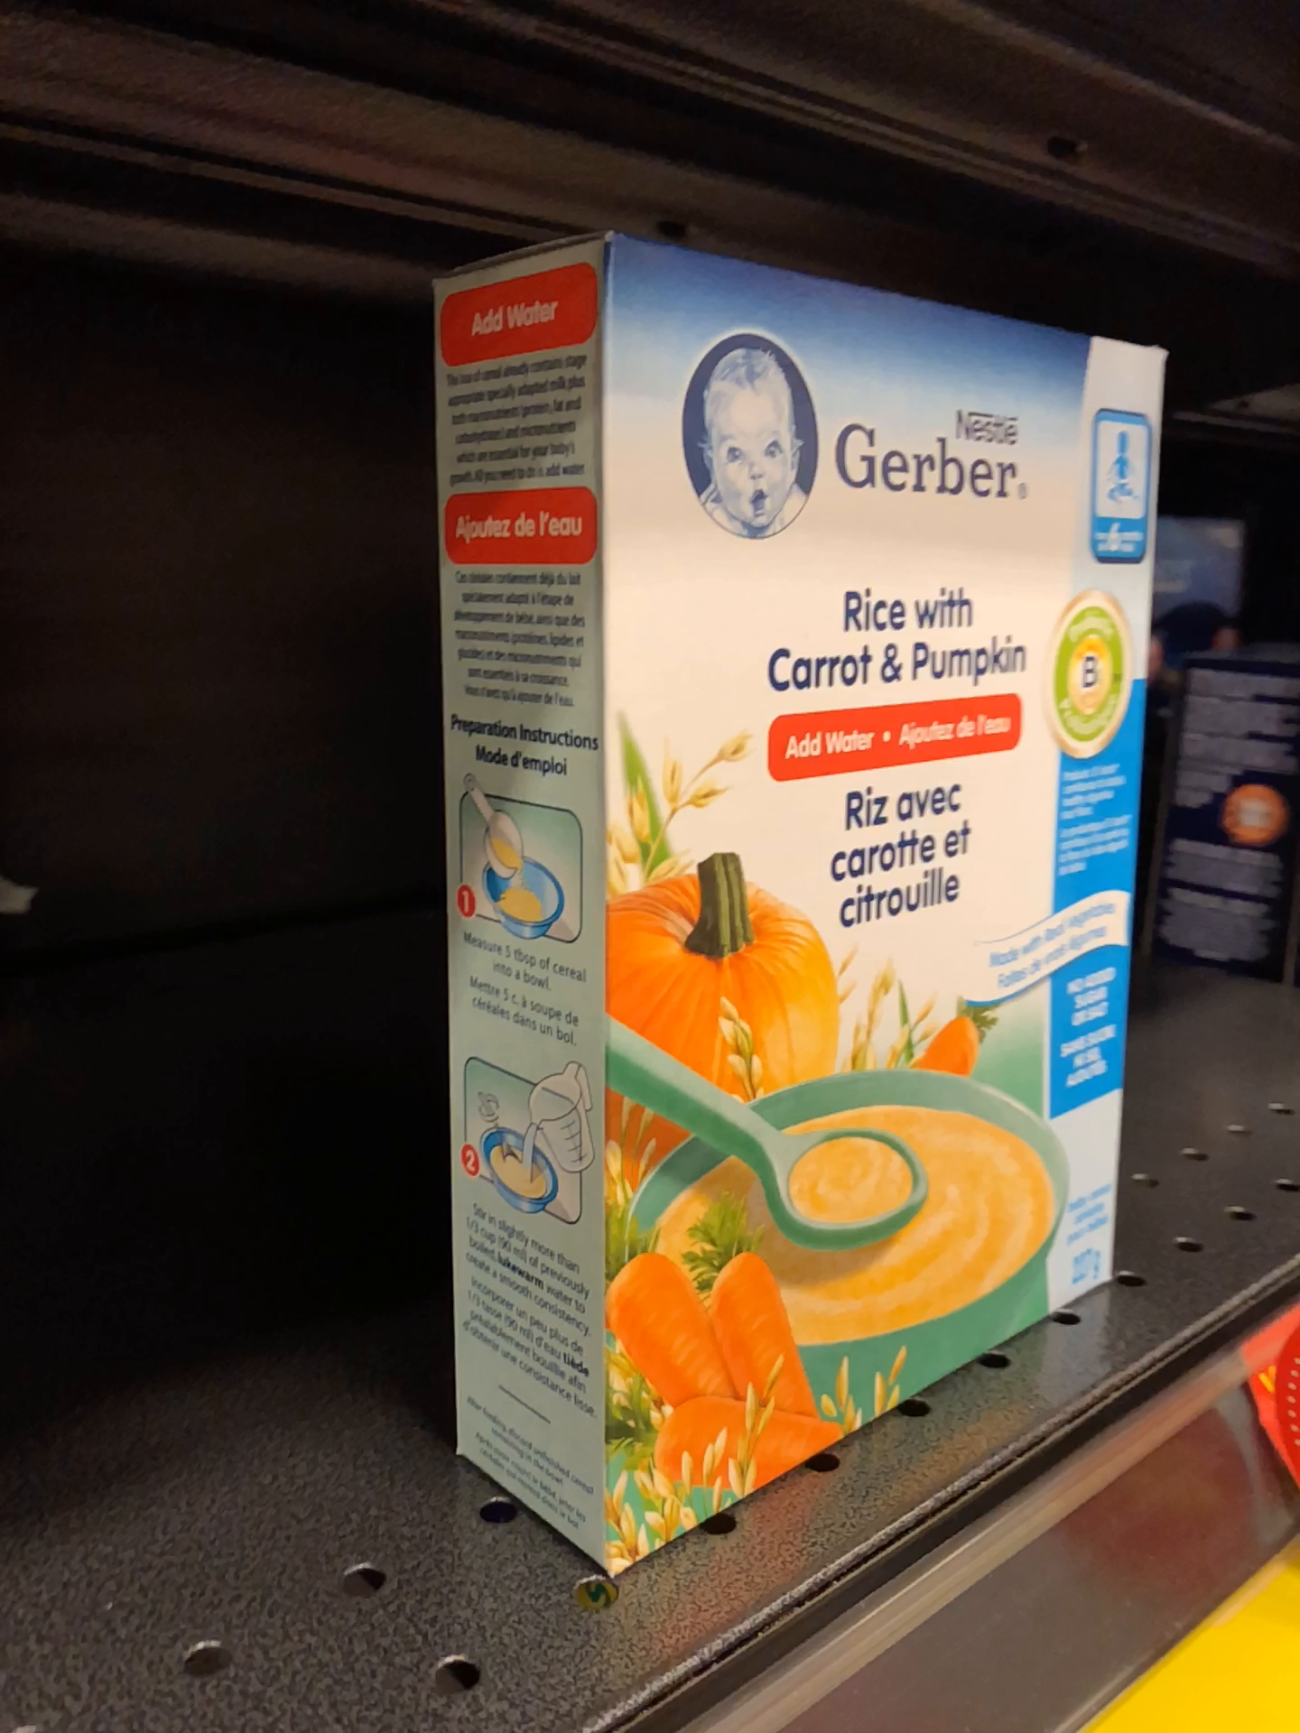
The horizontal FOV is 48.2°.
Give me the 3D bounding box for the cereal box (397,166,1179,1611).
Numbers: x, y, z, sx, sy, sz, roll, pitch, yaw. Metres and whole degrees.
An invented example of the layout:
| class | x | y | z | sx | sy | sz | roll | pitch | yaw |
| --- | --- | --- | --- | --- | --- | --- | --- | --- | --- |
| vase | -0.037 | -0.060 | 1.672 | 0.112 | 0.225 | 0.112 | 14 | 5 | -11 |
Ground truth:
| class | x | y | z | sx | sy | sz | roll | pitch | yaw |
| --- | --- | --- | --- | --- | --- | --- | --- | --- | --- |
| cereal box | 0.032 | -0.001 | 0.261 | 0.150 | 0.200 | 0.040 | -10 | 15 | -42 |
